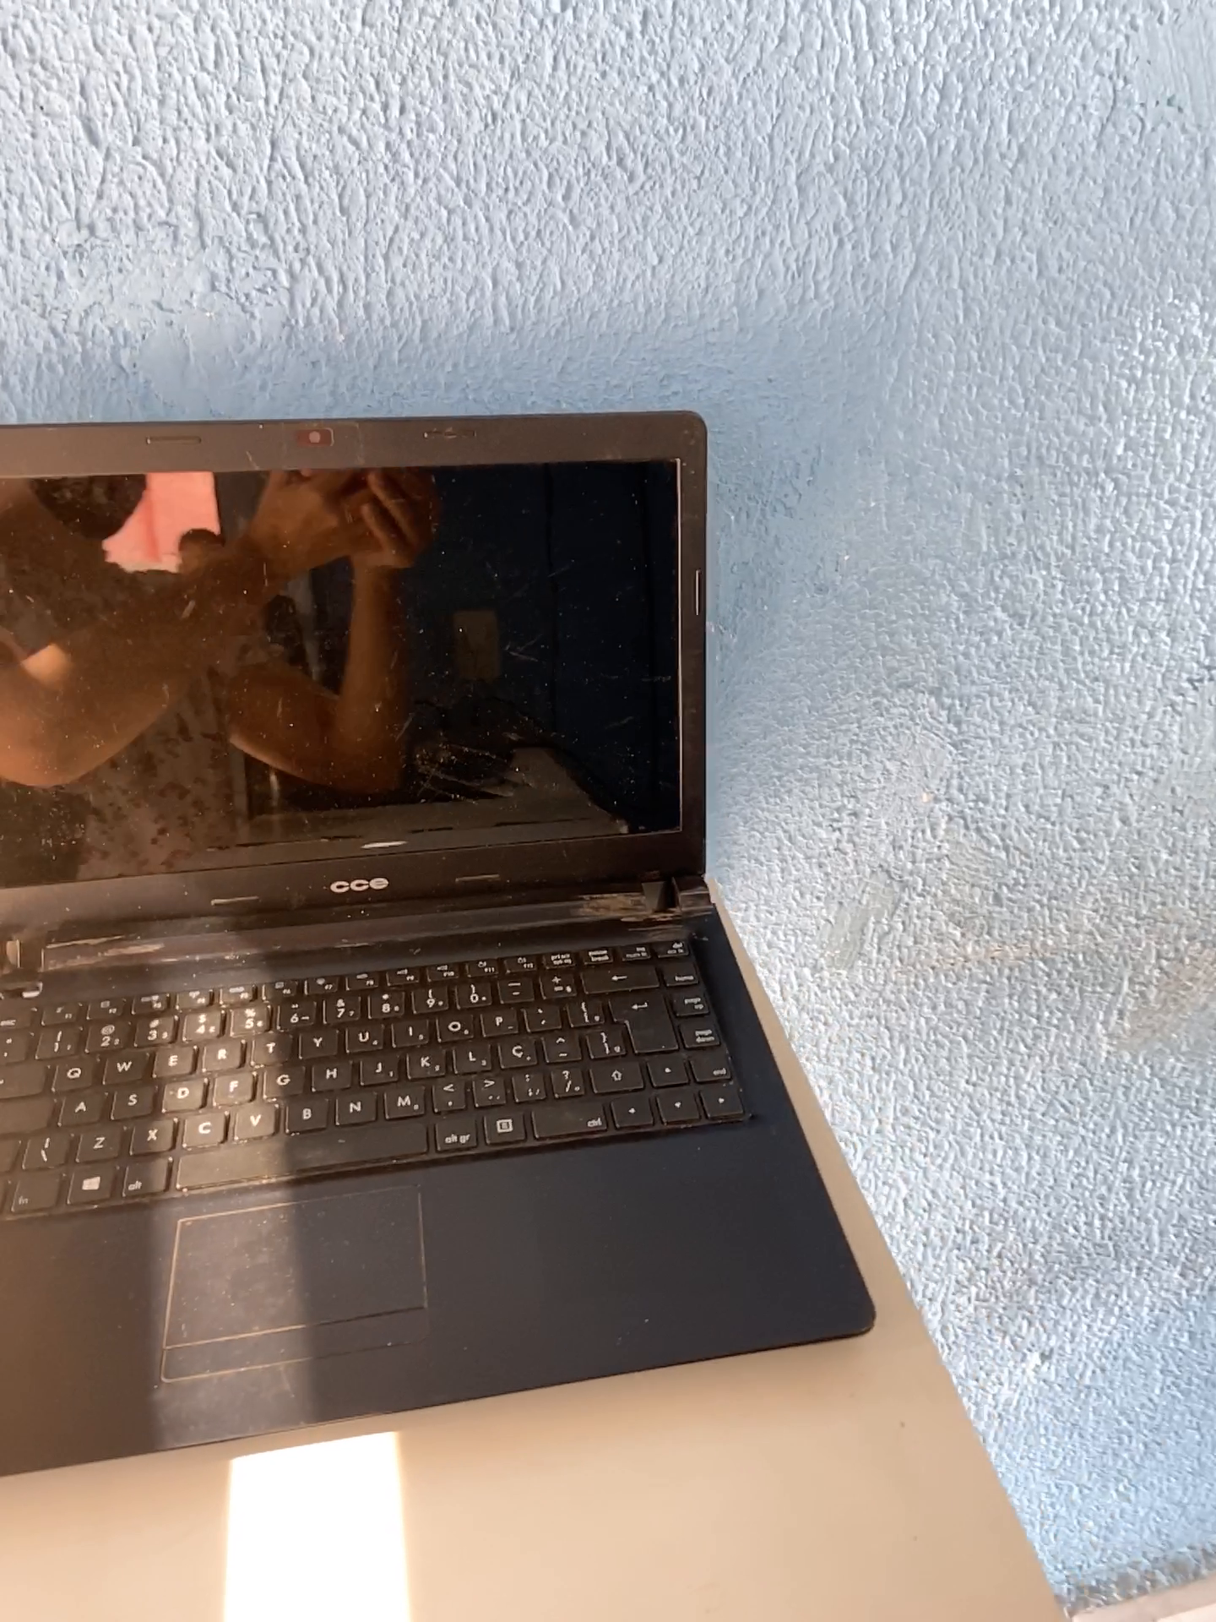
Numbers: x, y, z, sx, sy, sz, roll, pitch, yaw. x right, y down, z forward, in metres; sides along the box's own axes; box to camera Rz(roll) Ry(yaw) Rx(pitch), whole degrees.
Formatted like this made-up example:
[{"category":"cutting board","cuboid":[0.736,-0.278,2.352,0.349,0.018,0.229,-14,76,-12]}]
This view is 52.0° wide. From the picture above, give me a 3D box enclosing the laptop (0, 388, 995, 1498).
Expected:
[{"category":"laptop","cuboid":[-0.096,0.006,0.465,0.333,0.210,0.314,-4,35,-9]}]
